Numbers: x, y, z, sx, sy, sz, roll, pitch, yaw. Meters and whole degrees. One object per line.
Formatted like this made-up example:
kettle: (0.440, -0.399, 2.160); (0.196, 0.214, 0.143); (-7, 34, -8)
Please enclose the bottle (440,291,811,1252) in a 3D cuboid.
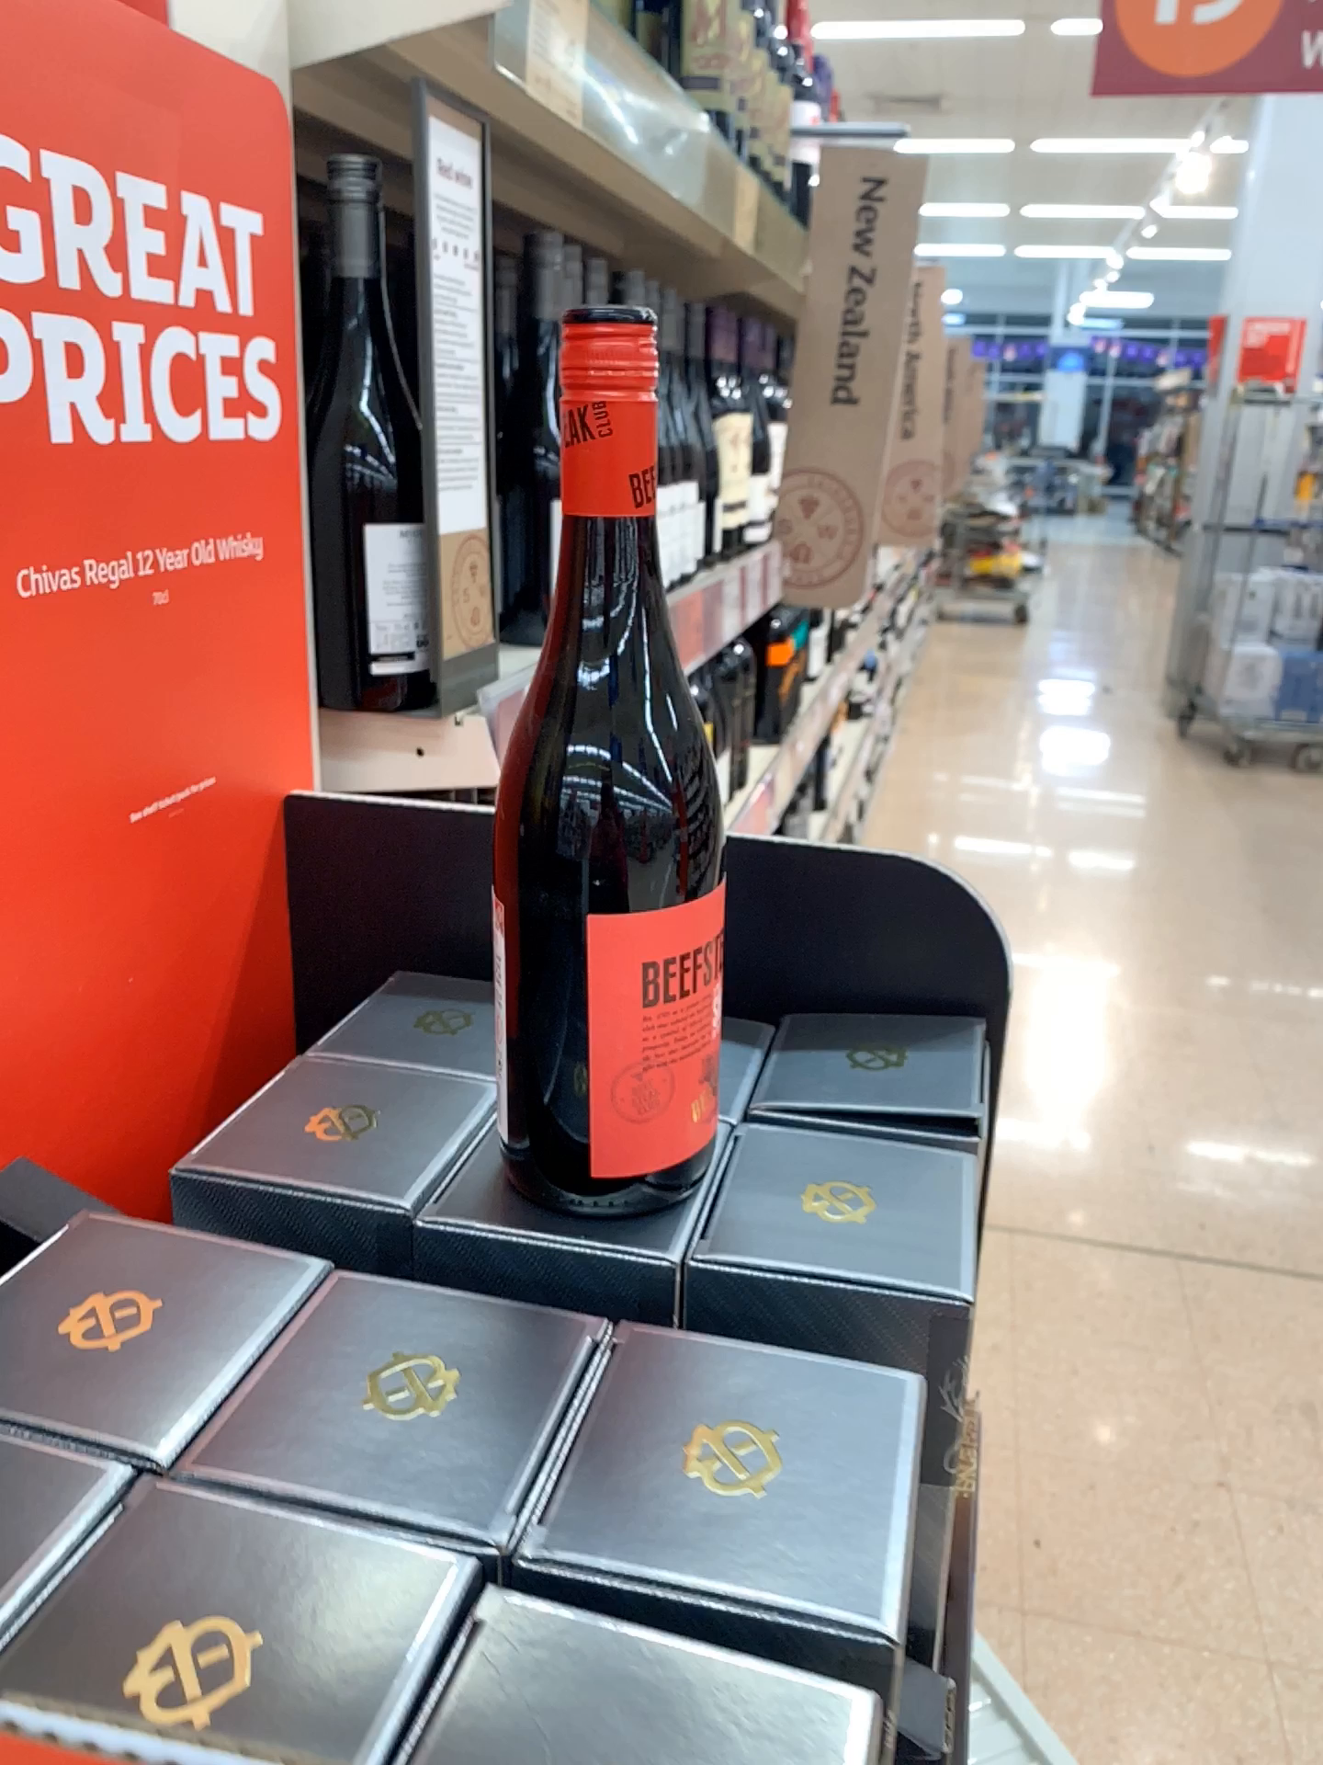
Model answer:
bottle: (-0.014, -0.035, 0.447); (0.080, 0.284, 0.083); (2, 18, -1)
